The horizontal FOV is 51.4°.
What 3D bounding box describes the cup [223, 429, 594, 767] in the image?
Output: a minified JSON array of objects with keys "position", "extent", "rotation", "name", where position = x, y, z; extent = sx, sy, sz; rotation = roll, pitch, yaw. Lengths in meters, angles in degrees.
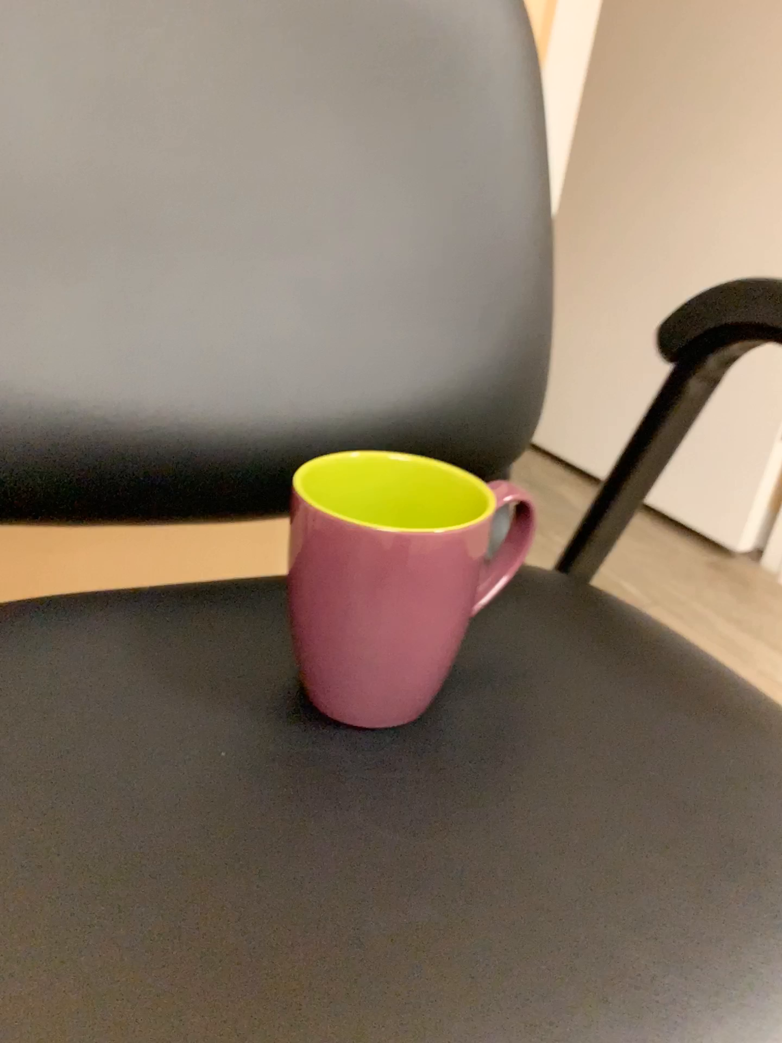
[{"position":[0.006,0.027,0.400],"extent":[0.144,0.109,0.090],"rotation":[-10,31,-36],"name":"cup"}]
